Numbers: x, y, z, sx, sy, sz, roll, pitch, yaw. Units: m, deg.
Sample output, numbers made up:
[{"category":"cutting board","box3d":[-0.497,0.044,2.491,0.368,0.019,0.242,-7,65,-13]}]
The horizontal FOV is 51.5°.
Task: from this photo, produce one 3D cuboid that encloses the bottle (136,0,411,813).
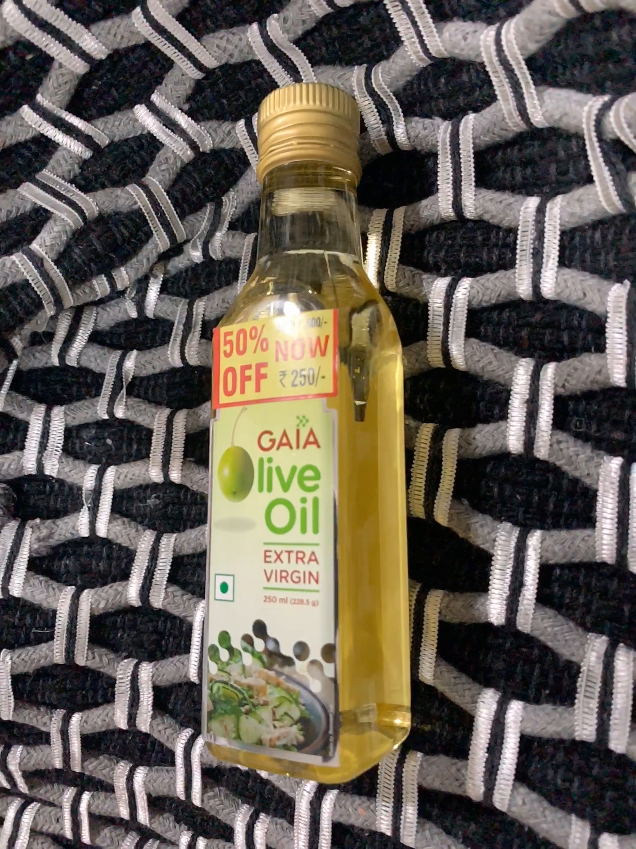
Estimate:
[{"category":"bottle","box3d":[-0.008,-0.012,0.178,0.050,0.050,0.190,-4,82,30]}]
